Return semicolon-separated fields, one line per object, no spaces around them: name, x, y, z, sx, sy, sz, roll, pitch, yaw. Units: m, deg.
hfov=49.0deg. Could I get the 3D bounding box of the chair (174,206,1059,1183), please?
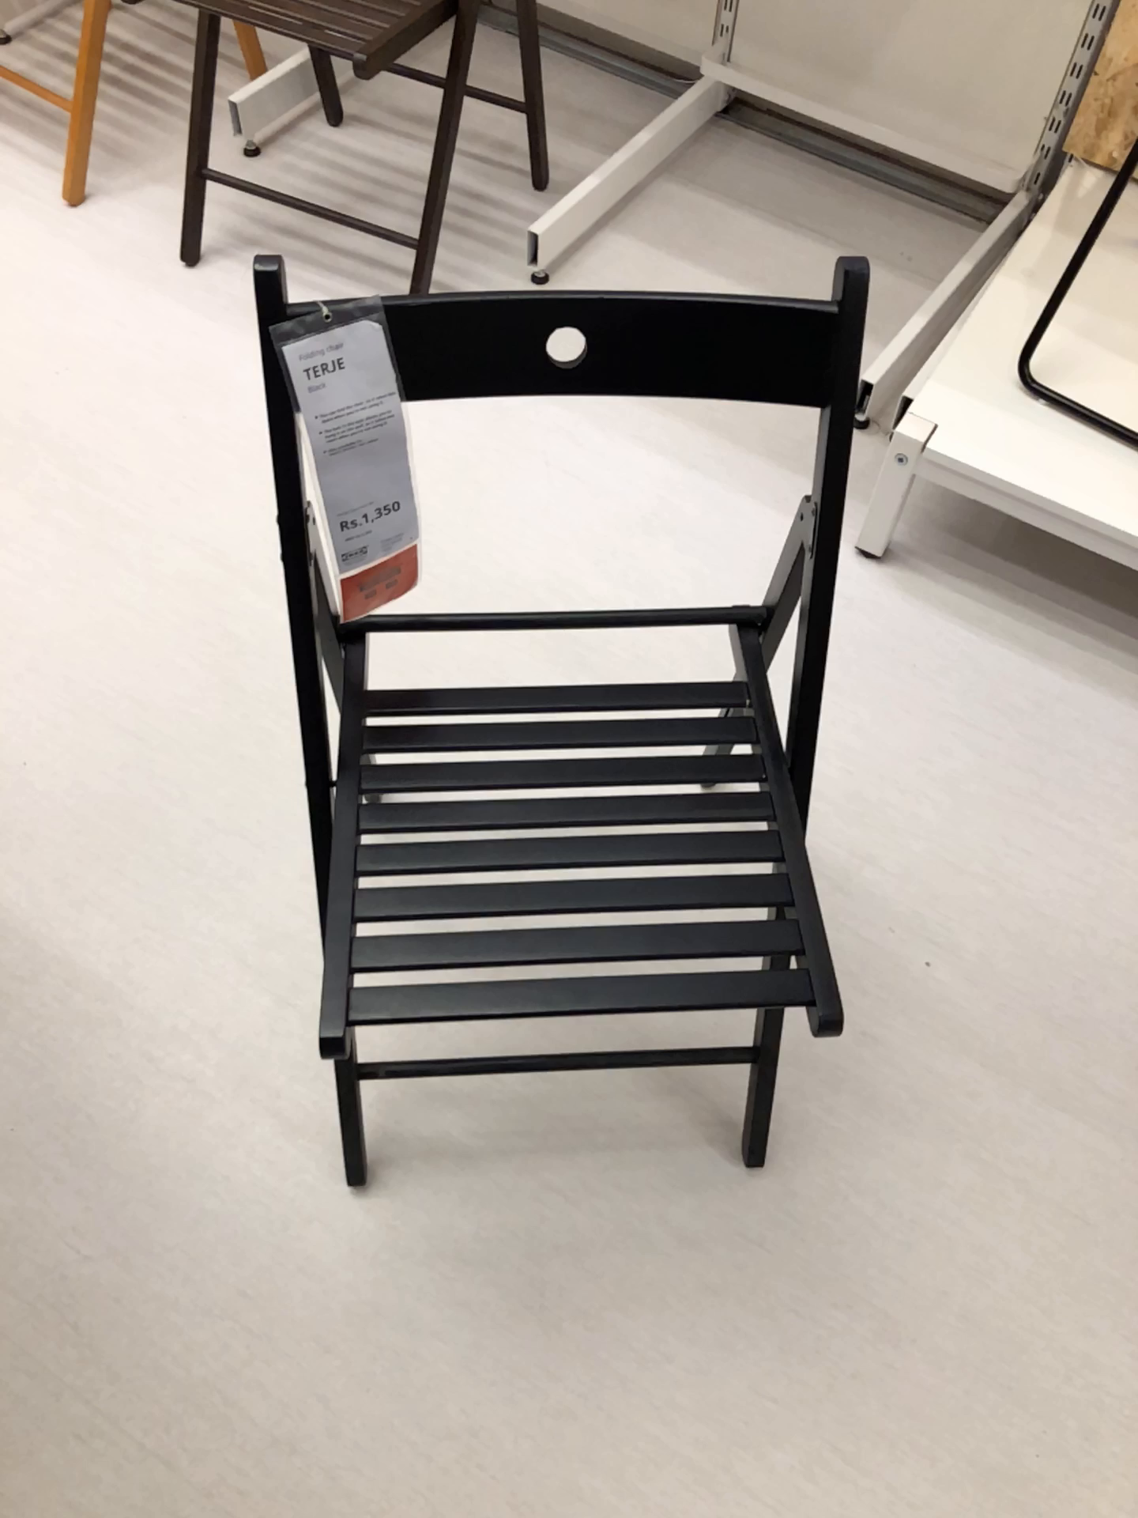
chair;-0.001;0.011;1.054;0.440;0.726;0.482;-1;58;-4
